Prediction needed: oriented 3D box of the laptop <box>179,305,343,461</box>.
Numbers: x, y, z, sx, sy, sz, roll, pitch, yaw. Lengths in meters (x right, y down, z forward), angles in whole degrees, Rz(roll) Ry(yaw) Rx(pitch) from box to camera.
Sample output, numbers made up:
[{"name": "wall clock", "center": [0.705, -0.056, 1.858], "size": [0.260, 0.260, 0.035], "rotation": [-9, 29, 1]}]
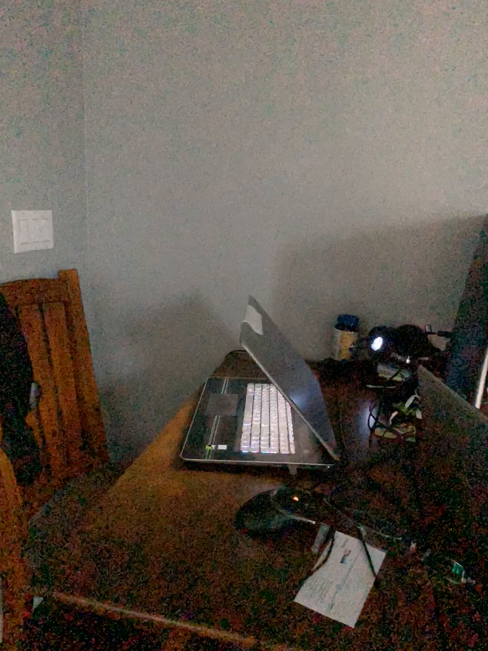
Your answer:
[{"name": "laptop", "center": [0.035, 0.088, 1.011], "size": [0.256, 0.187, 0.394], "rotation": [2, 13, 3]}]
